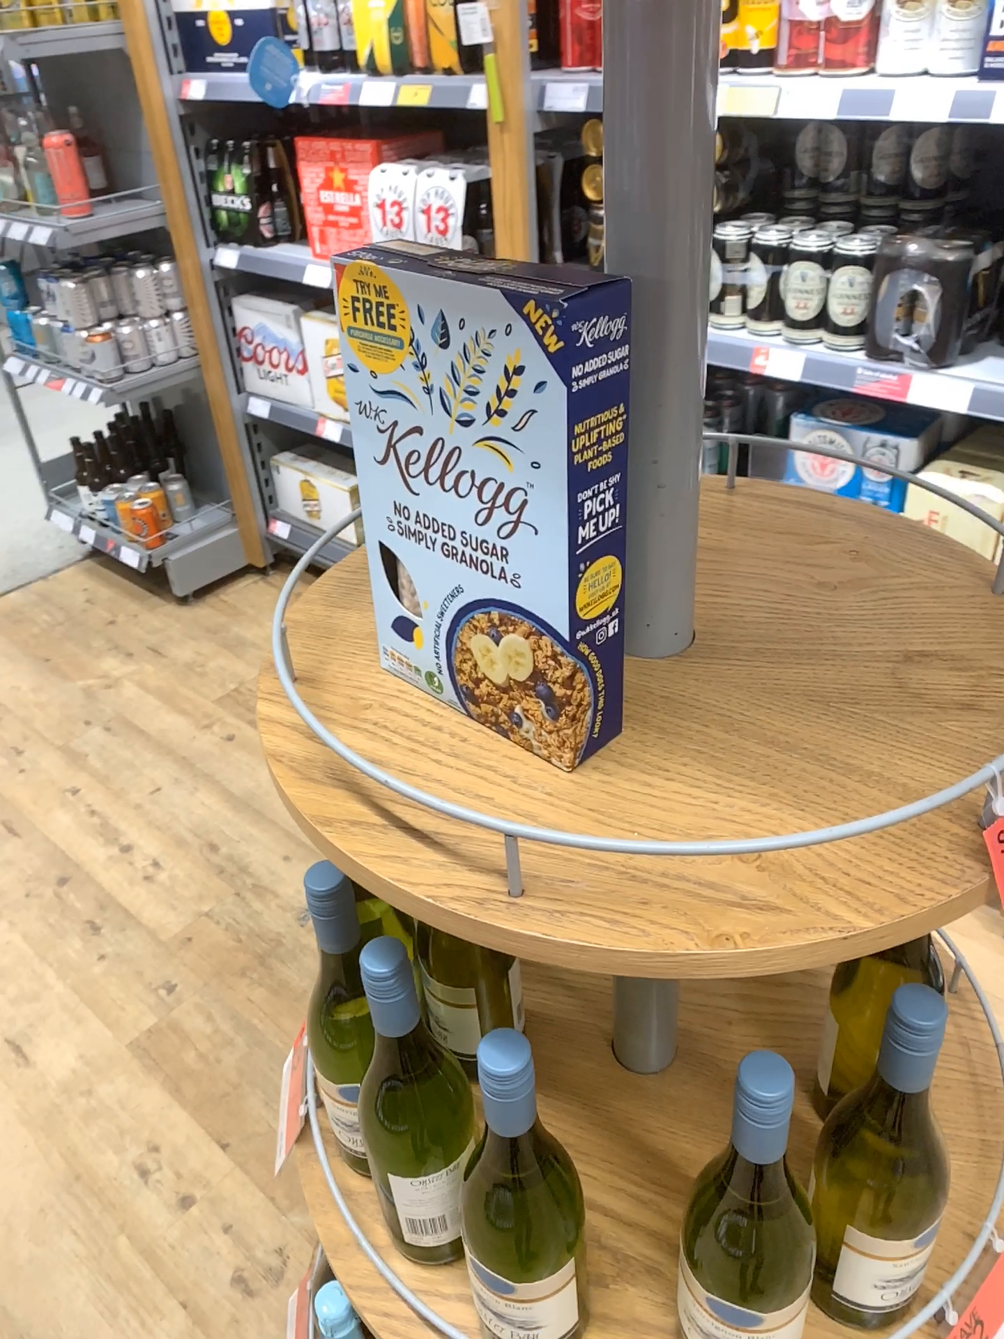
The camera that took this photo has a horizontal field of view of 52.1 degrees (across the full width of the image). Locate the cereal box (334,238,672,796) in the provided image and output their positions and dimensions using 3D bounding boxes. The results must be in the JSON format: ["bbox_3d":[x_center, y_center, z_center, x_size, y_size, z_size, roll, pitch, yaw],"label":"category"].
[{"bbox_3d":[0.000,-0.080,0.536,0.050,0.248,0.171,-29,41,-34],"label":"cereal box"}]
